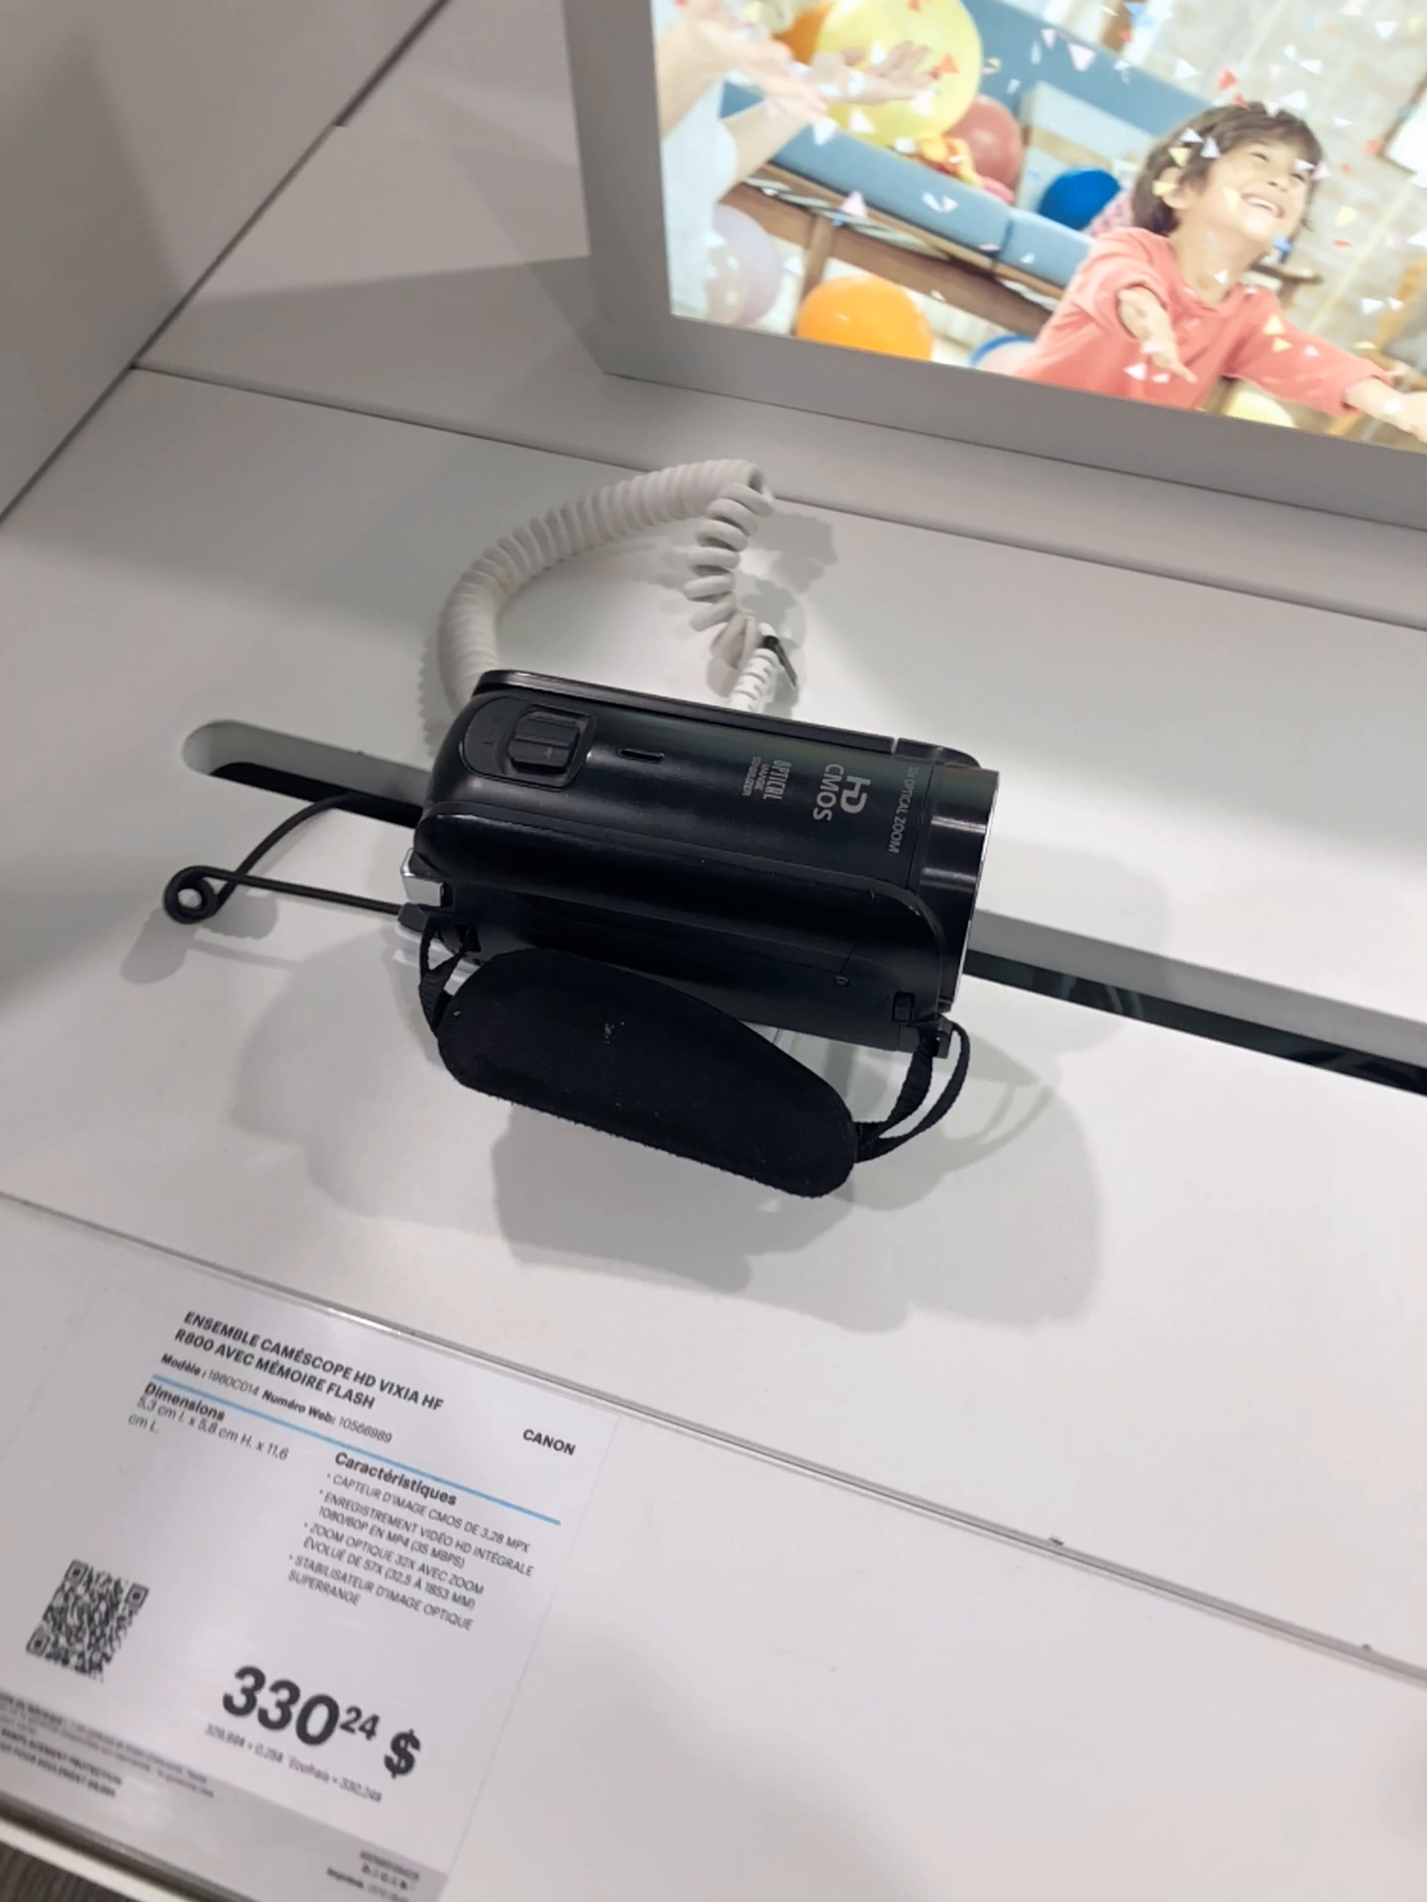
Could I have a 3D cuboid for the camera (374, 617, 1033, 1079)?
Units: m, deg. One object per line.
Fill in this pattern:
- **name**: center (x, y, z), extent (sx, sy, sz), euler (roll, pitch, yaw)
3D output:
- **camera**: center (0.000, -0.021, 0.313), extent (0.113, 0.050, 0.050), euler (12, 57, 10)
